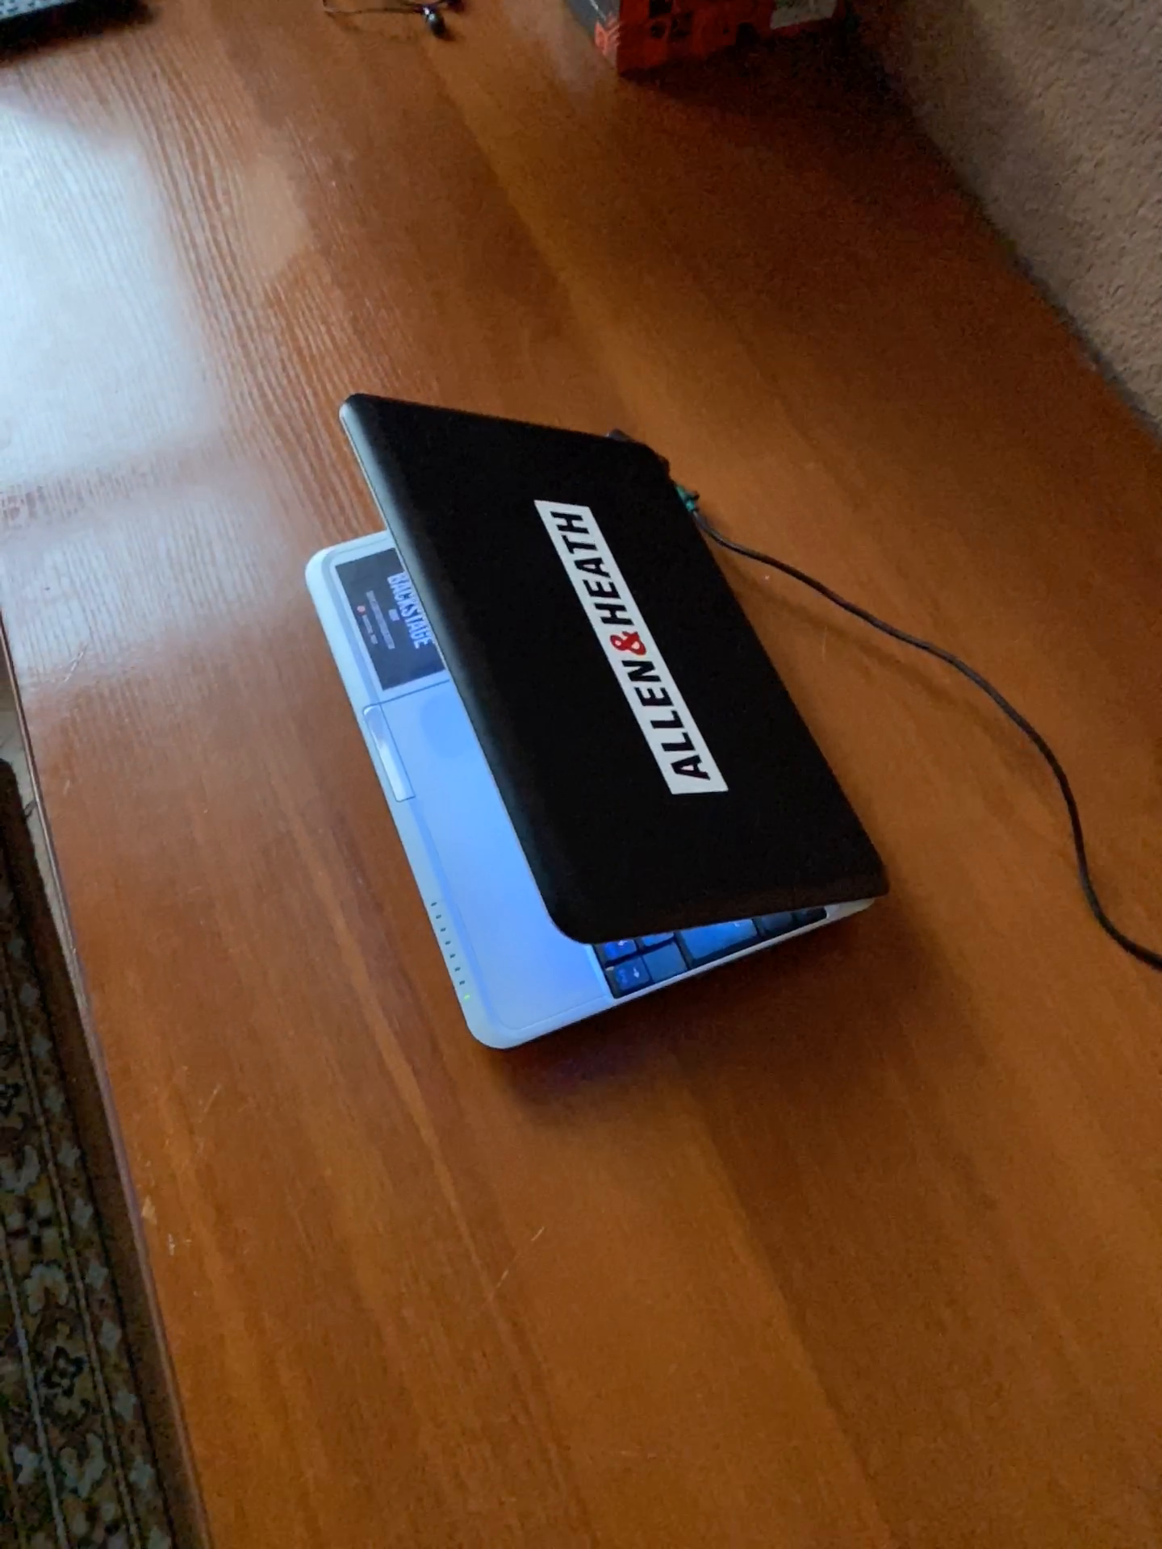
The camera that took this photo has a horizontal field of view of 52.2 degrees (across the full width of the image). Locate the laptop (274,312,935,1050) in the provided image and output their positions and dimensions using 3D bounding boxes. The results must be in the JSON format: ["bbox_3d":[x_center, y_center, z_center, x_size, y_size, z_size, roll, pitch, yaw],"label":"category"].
[{"bbox_3d":[-0.005,-0.049,0.503,0.173,0.089,0.266,-19,64,-9],"label":"laptop"}]
